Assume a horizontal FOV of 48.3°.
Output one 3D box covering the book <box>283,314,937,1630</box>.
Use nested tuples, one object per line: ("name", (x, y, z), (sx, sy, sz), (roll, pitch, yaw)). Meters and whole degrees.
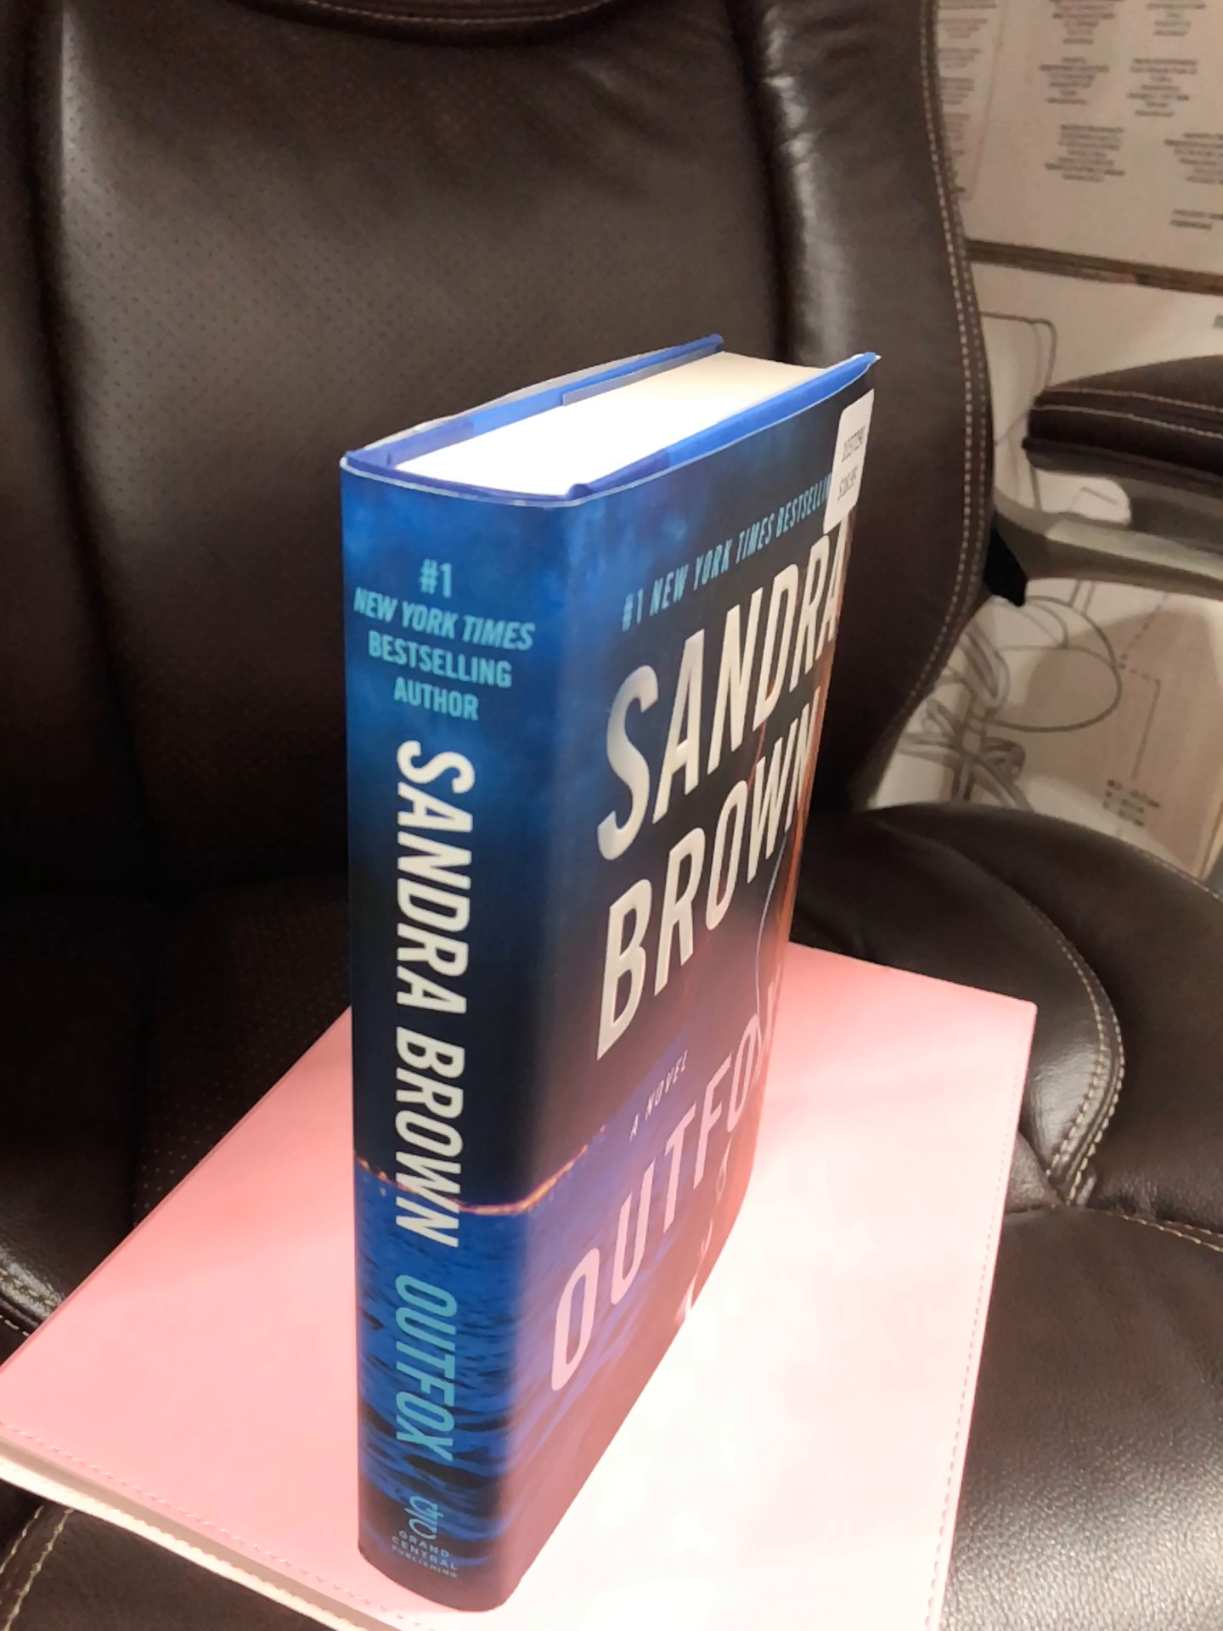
("book", (0.003, 0.025, 0.287), (0.048, 0.228, 0.168), (17, 29, 19))
